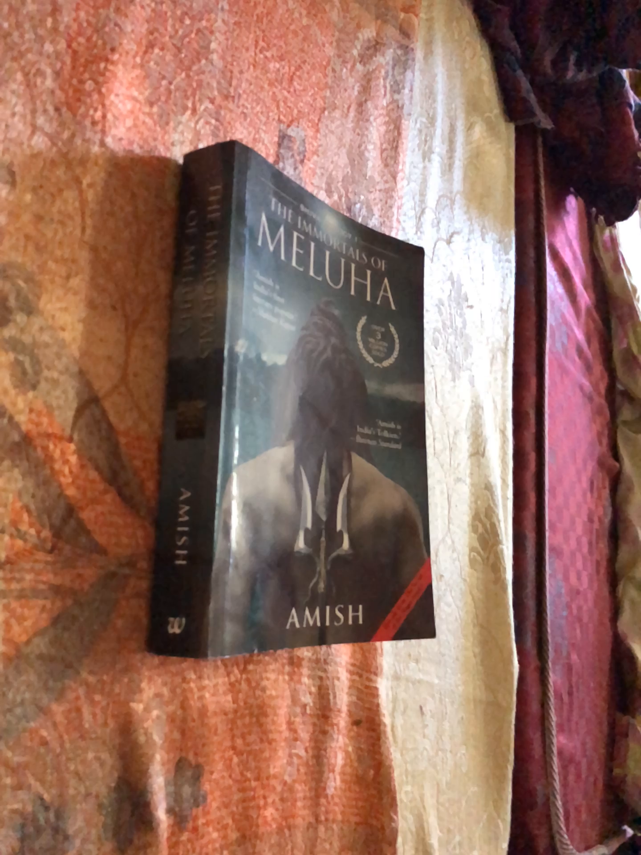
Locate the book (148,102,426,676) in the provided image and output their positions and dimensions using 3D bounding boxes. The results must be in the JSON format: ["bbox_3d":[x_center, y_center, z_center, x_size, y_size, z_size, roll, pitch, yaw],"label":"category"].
[{"bbox_3d":[-0.004,-0.008,0.304,0.131,0.040,0.200,16,71,-54],"label":"book"}]
